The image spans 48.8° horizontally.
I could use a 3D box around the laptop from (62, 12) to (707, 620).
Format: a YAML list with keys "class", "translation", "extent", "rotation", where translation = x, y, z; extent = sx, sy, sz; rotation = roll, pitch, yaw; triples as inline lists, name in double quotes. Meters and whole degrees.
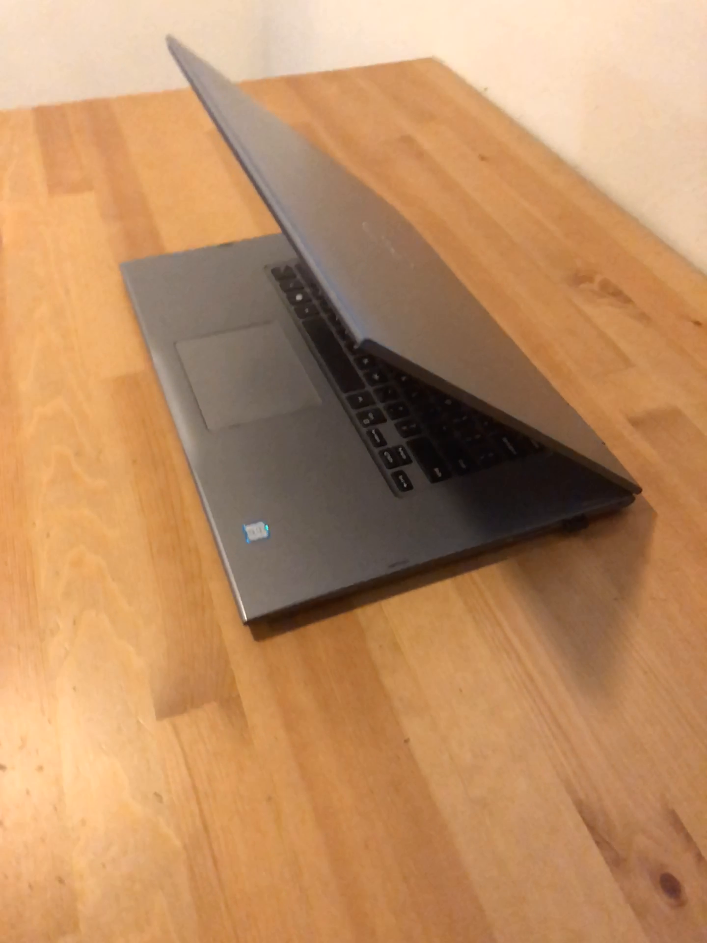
- class: "laptop"
  translation: [-0.014, -0.137, 0.504]
  extent: [0.246, 0.165, 0.377]
  rotation: [-16, 48, -16]
